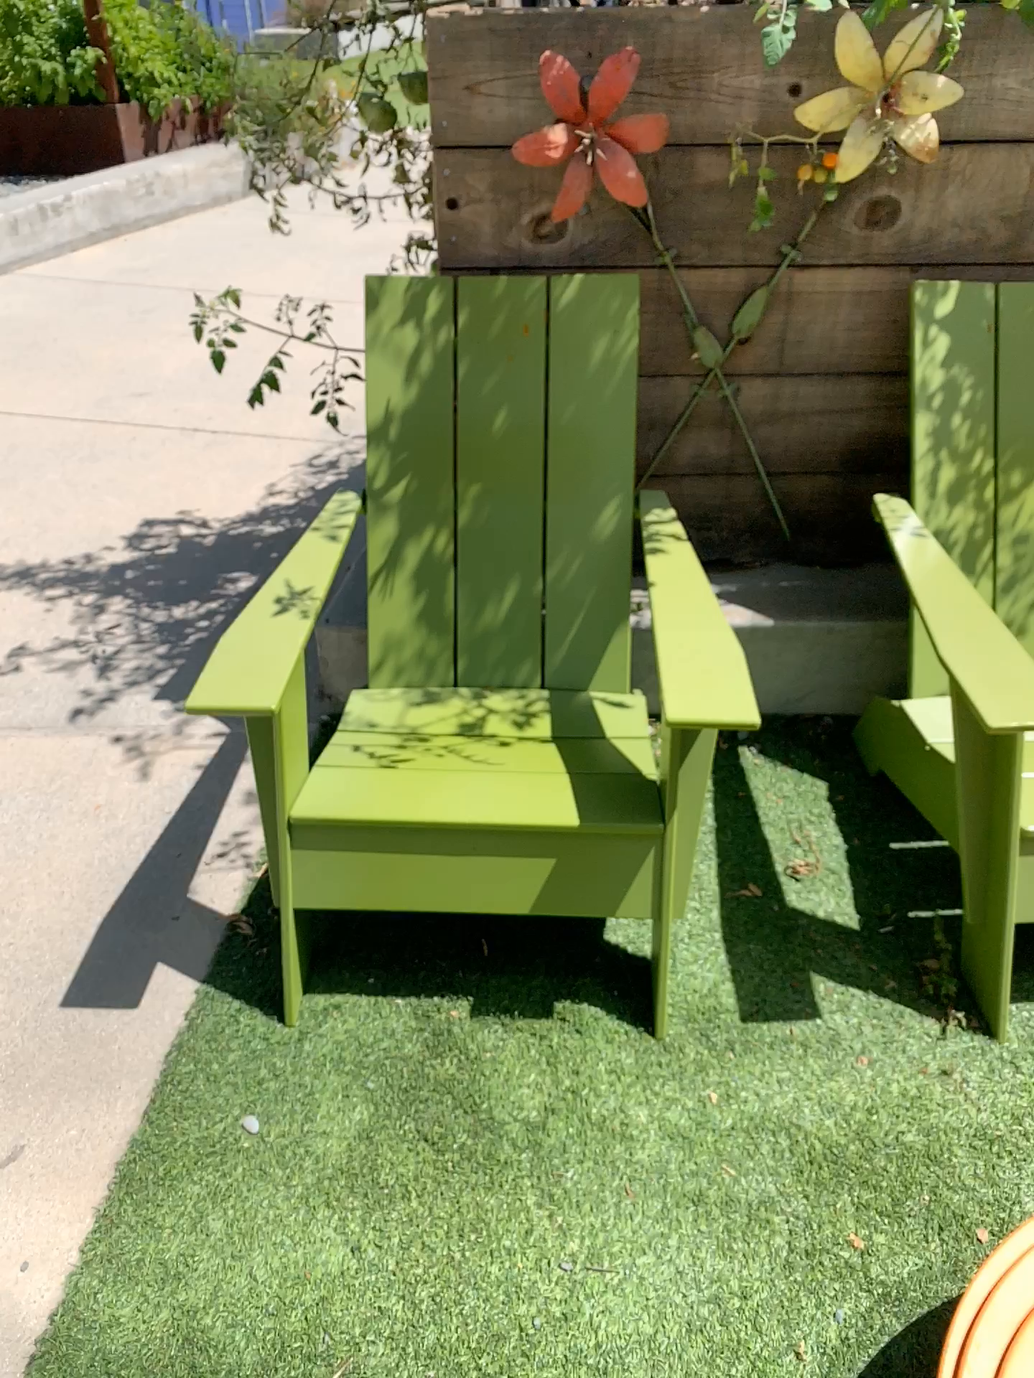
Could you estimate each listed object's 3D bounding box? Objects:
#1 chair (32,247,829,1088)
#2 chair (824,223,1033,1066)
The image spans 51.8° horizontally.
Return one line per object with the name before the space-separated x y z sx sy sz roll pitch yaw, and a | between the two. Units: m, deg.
chair | -0.056 -0.108 1.503 0.680 0.836 0.905 1 30 3
chair | 0.929 -0.136 1.628 0.680 0.986 0.893 -1 21 5
